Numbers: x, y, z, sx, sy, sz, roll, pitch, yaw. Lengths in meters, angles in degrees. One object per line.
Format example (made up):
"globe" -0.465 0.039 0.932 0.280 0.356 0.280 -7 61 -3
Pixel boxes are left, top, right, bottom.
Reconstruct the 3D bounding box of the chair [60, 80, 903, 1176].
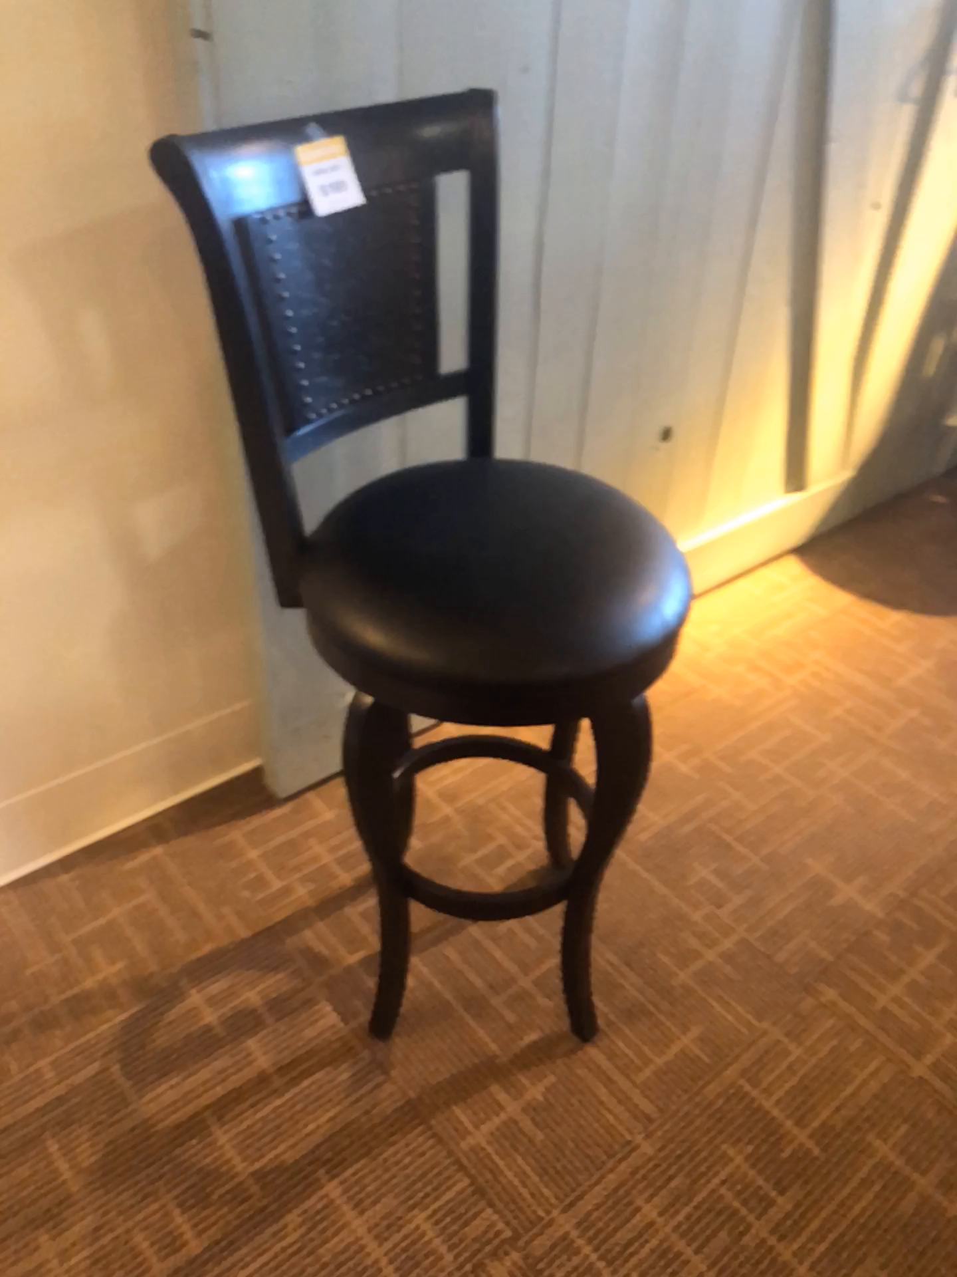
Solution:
"chair" -0.021 -0.013 1.372 0.562 1.150 0.610 -29 46 -36
